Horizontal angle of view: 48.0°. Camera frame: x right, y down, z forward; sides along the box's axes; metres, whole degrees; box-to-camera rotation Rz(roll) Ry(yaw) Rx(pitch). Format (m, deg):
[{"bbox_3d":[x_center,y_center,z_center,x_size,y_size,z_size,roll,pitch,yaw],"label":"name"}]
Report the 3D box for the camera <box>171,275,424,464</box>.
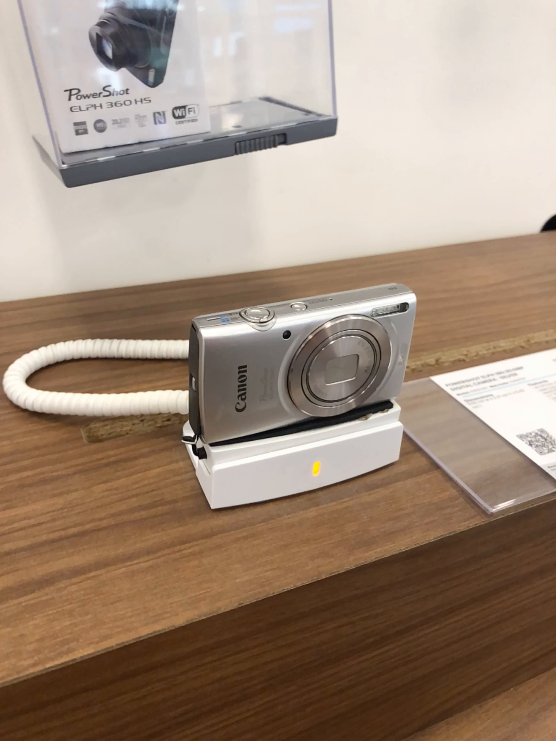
[{"bbox_3d":[0.008,-0.002,0.261,0.100,0.060,0.020,-12,38,-21],"label":"camera"}]
